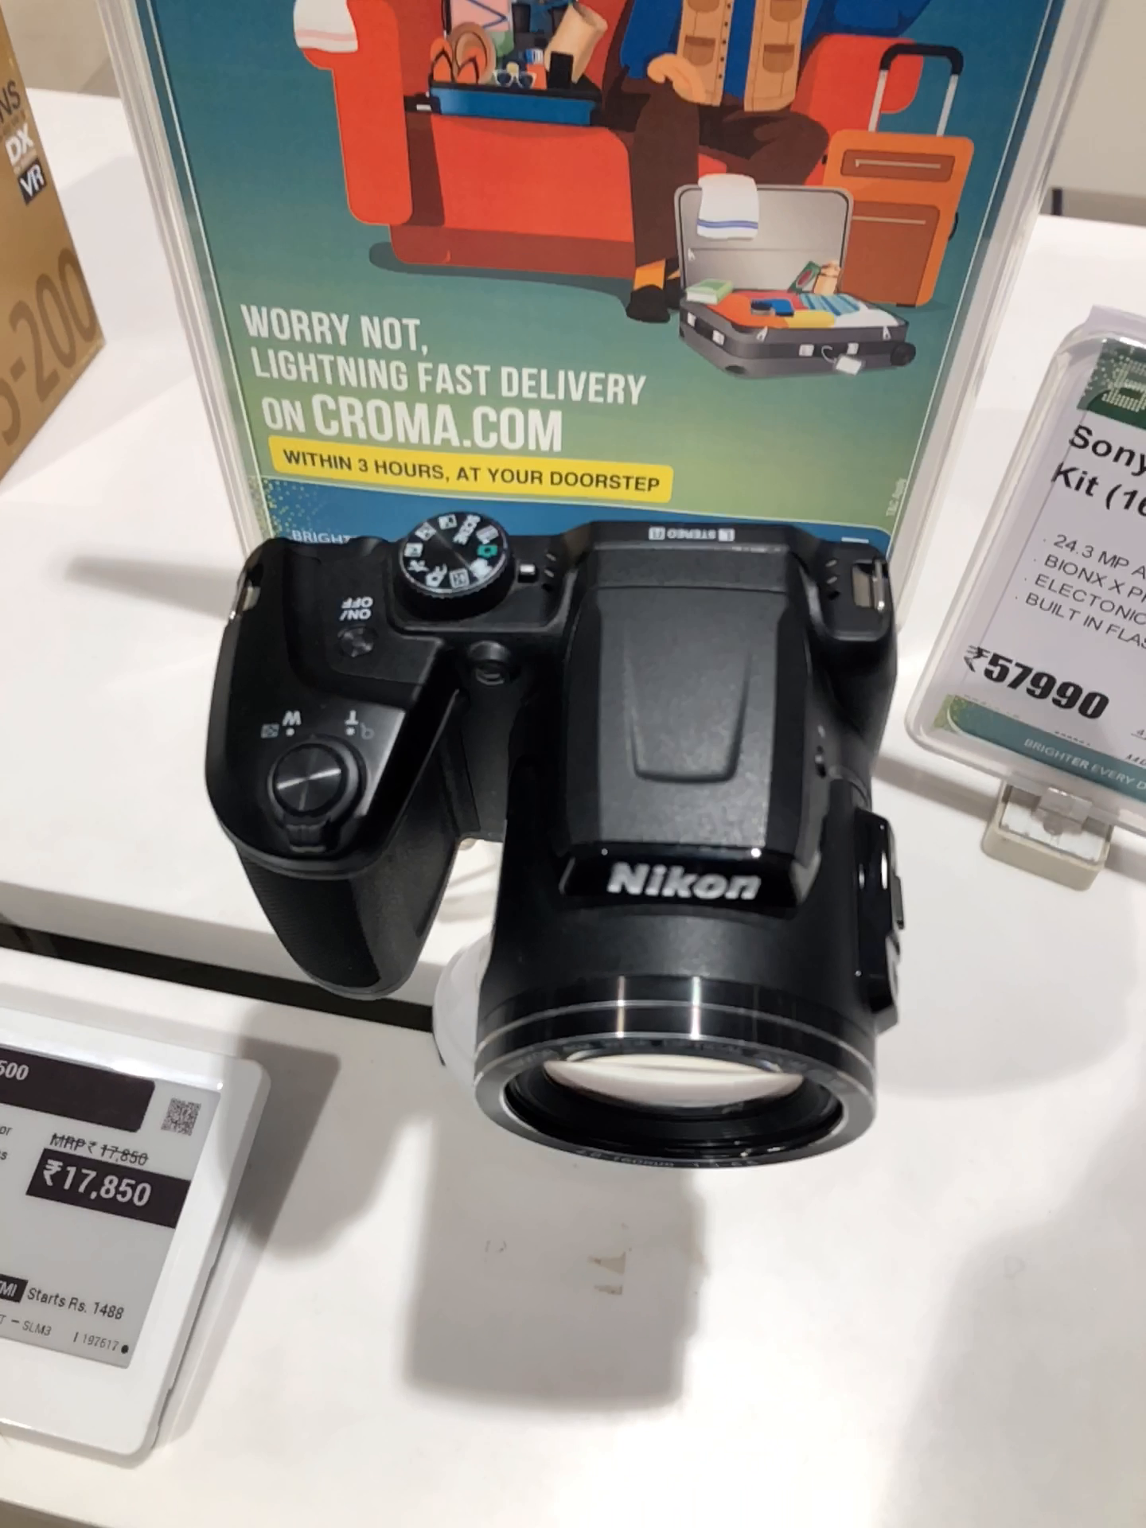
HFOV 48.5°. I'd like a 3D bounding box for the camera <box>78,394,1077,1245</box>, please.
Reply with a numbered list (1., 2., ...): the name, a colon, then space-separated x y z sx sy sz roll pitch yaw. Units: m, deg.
1. camera: 0.002 0.007 0.201 0.110 0.070 0.111 2 53 1
